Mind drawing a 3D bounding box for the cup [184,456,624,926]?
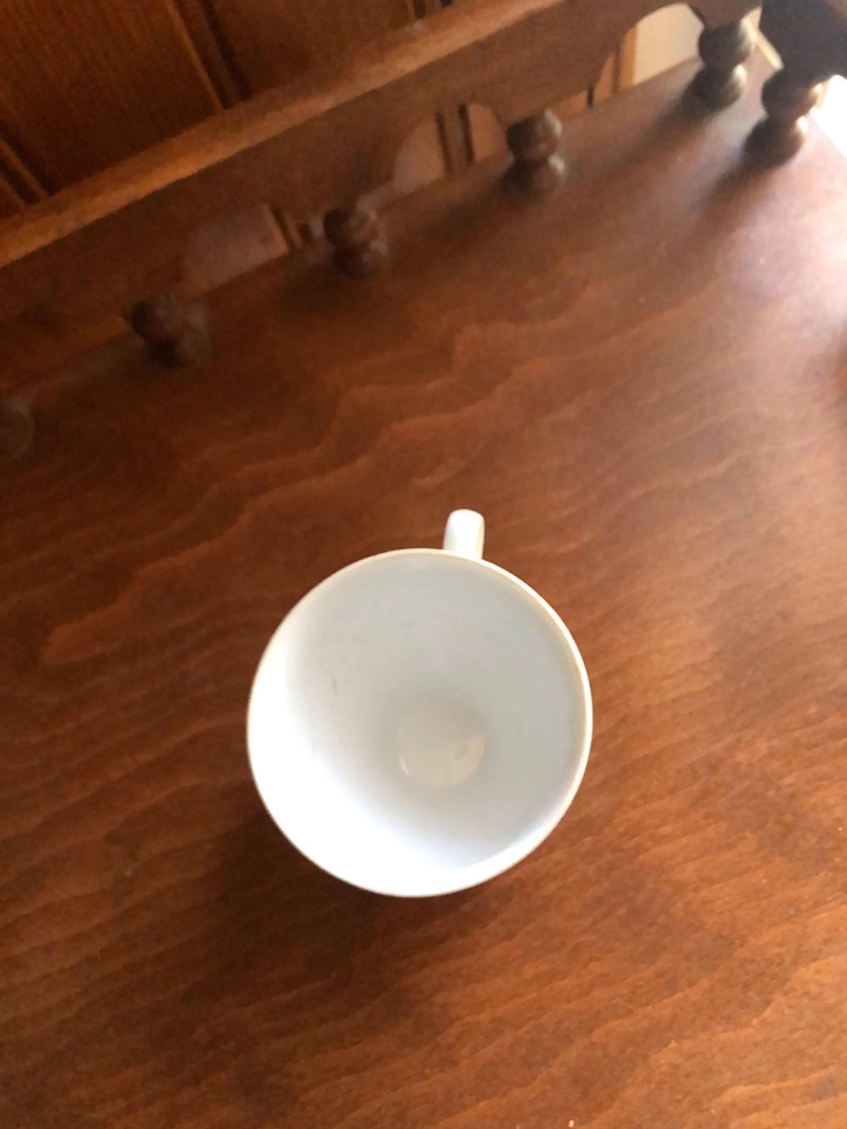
[{"bbox_3d":[0.001,0.030,0.230,0.080,0.050,0.090,8,74,11],"label":"cup"}]
